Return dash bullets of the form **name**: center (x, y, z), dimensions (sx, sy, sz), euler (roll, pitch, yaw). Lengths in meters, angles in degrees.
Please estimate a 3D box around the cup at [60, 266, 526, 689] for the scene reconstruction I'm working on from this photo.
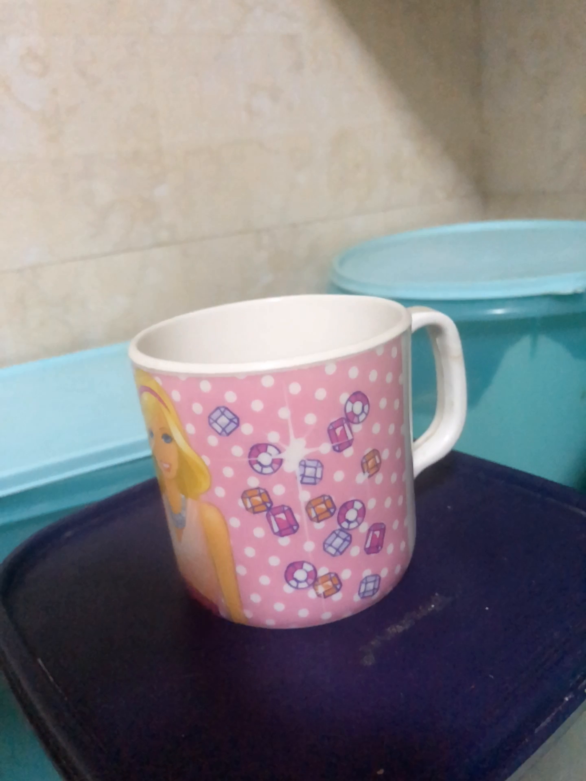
- **cup**: center (0.005, 0.012, 0.215), dimensions (0.120, 0.080, 0.080), euler (-19, 22, -33)
